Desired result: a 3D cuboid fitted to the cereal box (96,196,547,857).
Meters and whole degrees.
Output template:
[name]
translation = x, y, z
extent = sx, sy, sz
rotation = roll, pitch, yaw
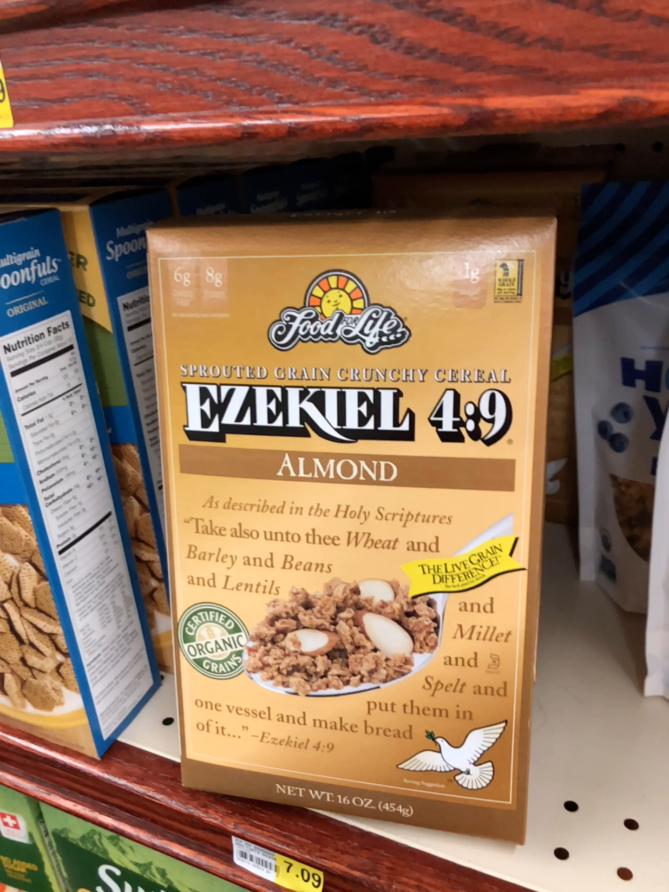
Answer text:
[cereal box]
translation = 0.000, 0.027, 0.279
extent = 0.140, 0.220, 0.060
rotation = 2, 13, 12
